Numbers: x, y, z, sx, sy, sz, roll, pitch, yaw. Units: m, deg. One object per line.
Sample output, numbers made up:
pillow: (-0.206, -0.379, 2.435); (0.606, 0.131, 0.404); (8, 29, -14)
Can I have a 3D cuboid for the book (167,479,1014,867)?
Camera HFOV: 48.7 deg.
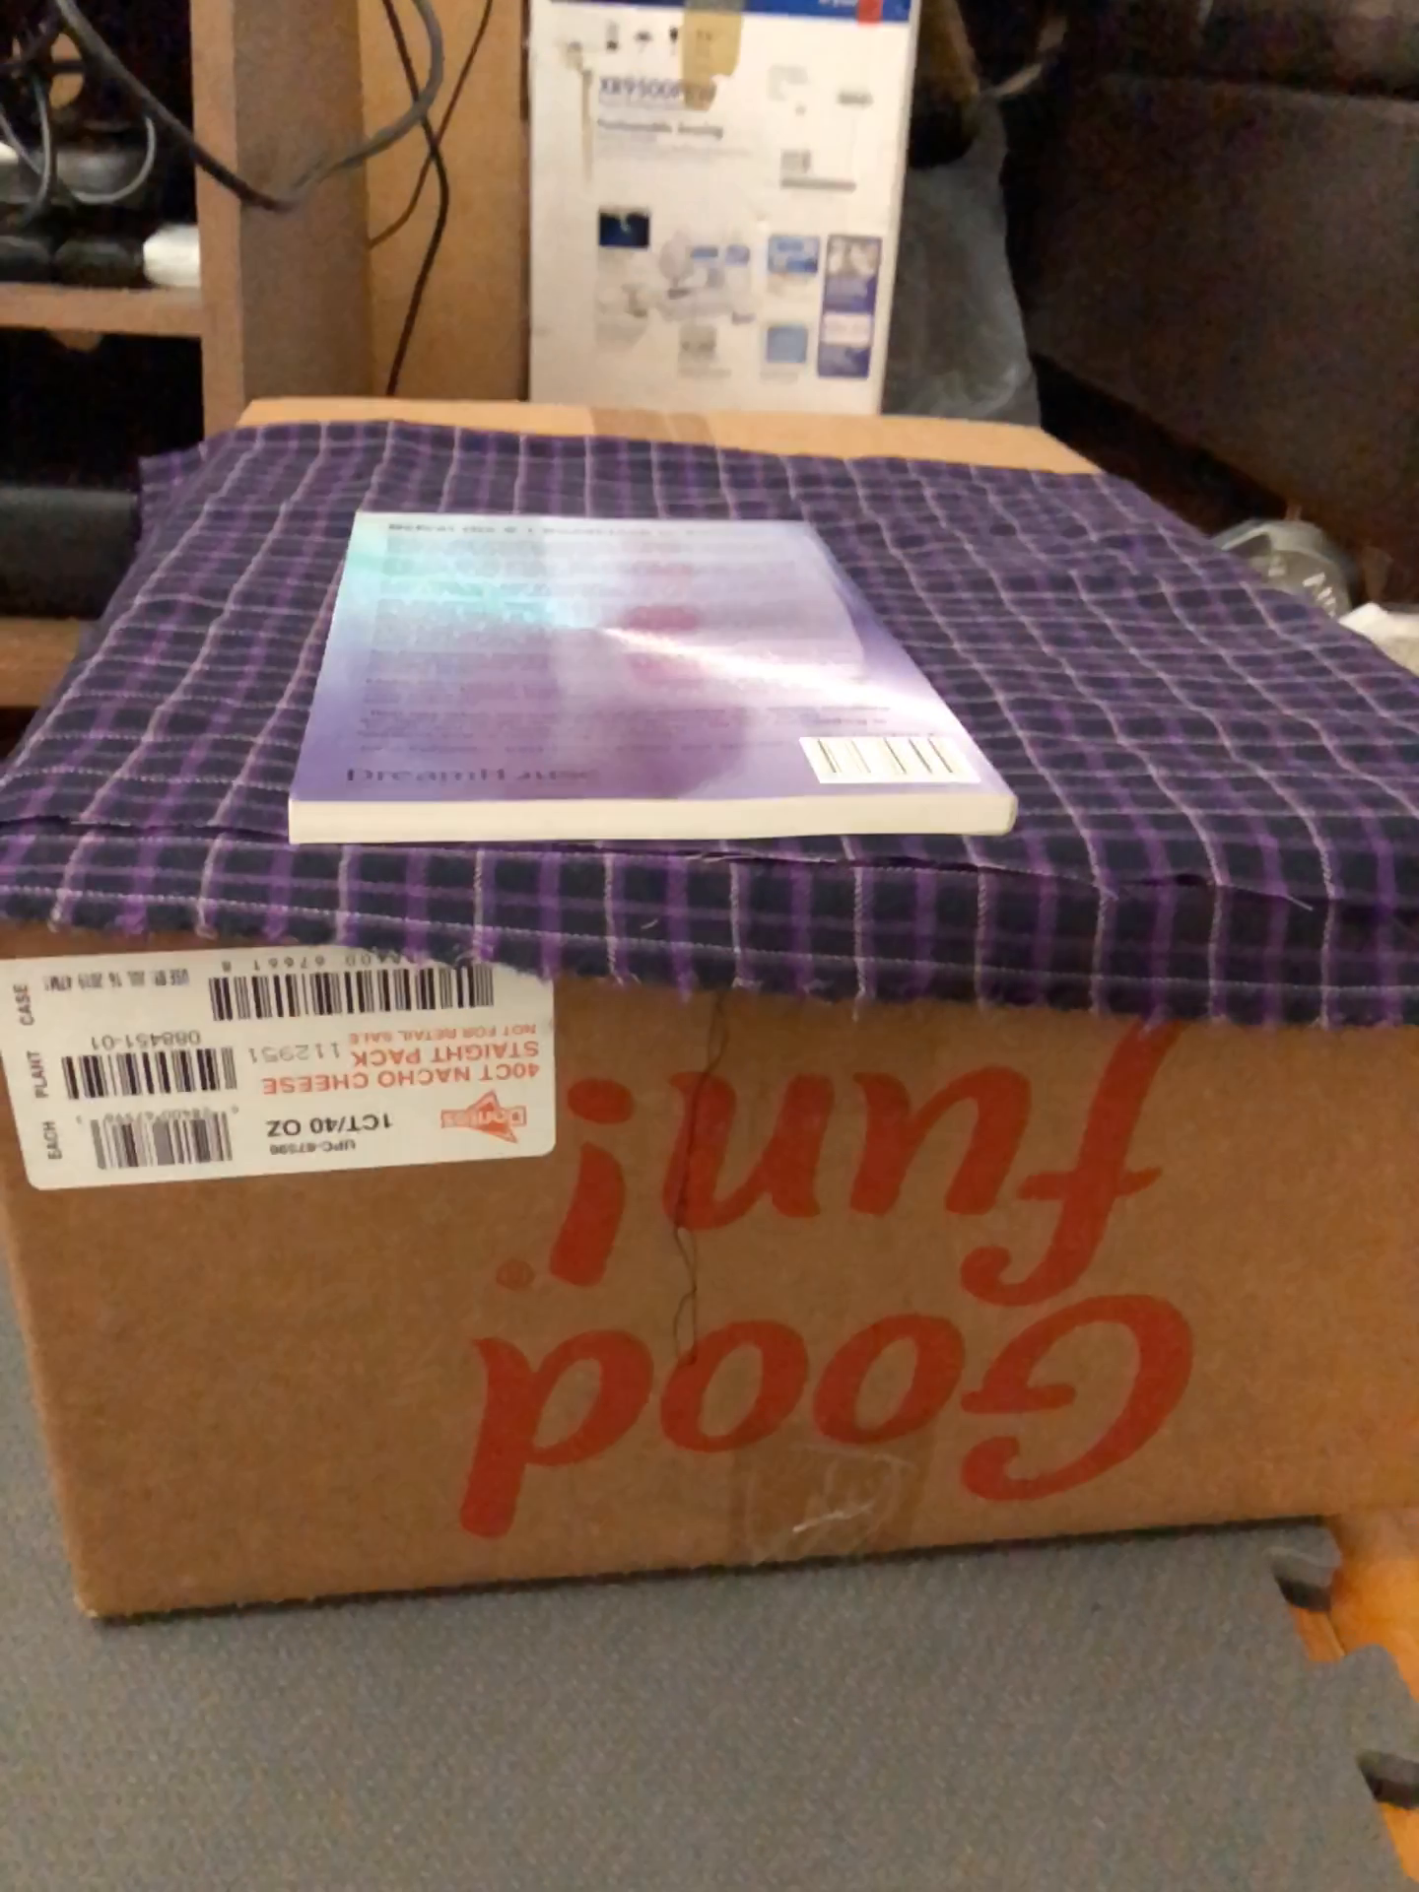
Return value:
book: (-0.035, -0.080, 0.396); (0.160, 0.020, 0.221); (-1, 30, -8)
